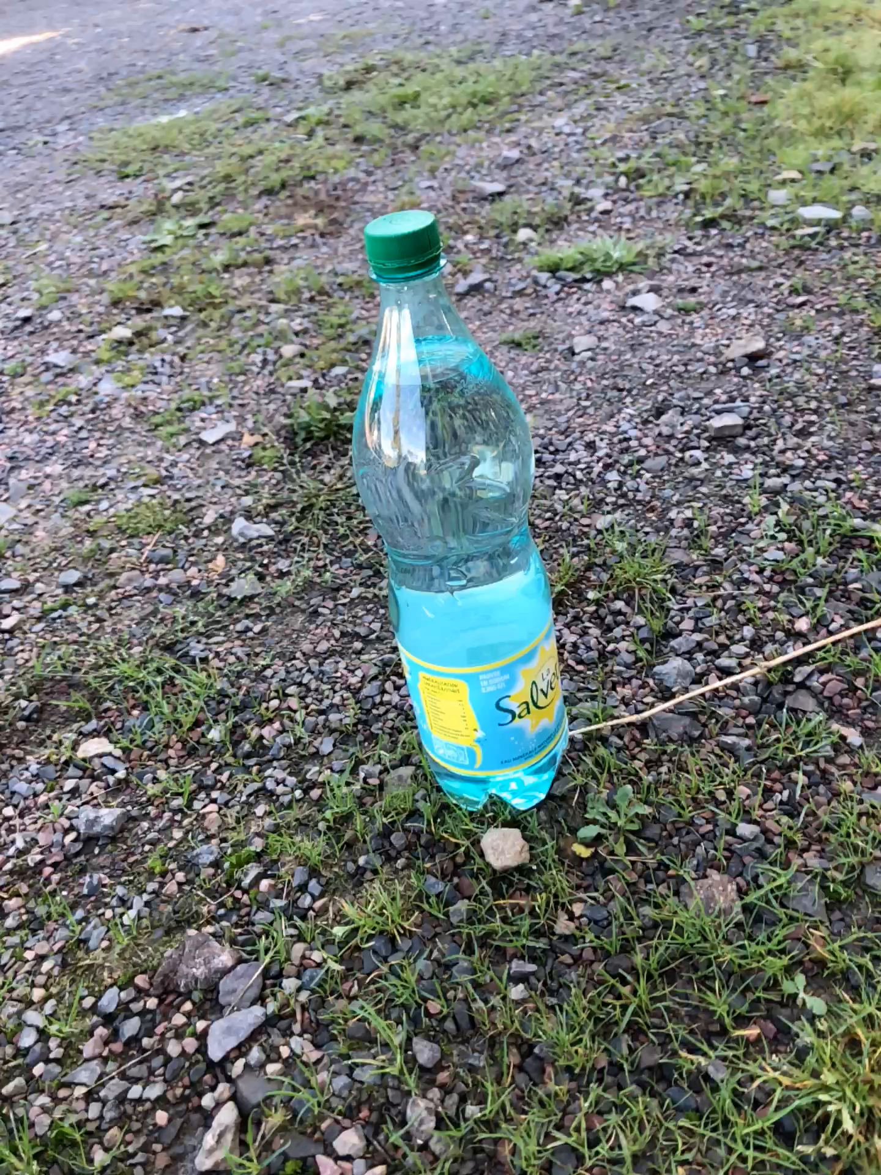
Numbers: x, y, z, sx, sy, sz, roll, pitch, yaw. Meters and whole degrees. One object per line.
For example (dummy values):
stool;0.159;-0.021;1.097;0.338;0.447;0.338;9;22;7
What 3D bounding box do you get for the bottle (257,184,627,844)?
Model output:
bottle;0.017;-0.025;0.466;0.100;0.298;0.090;16;43;32
